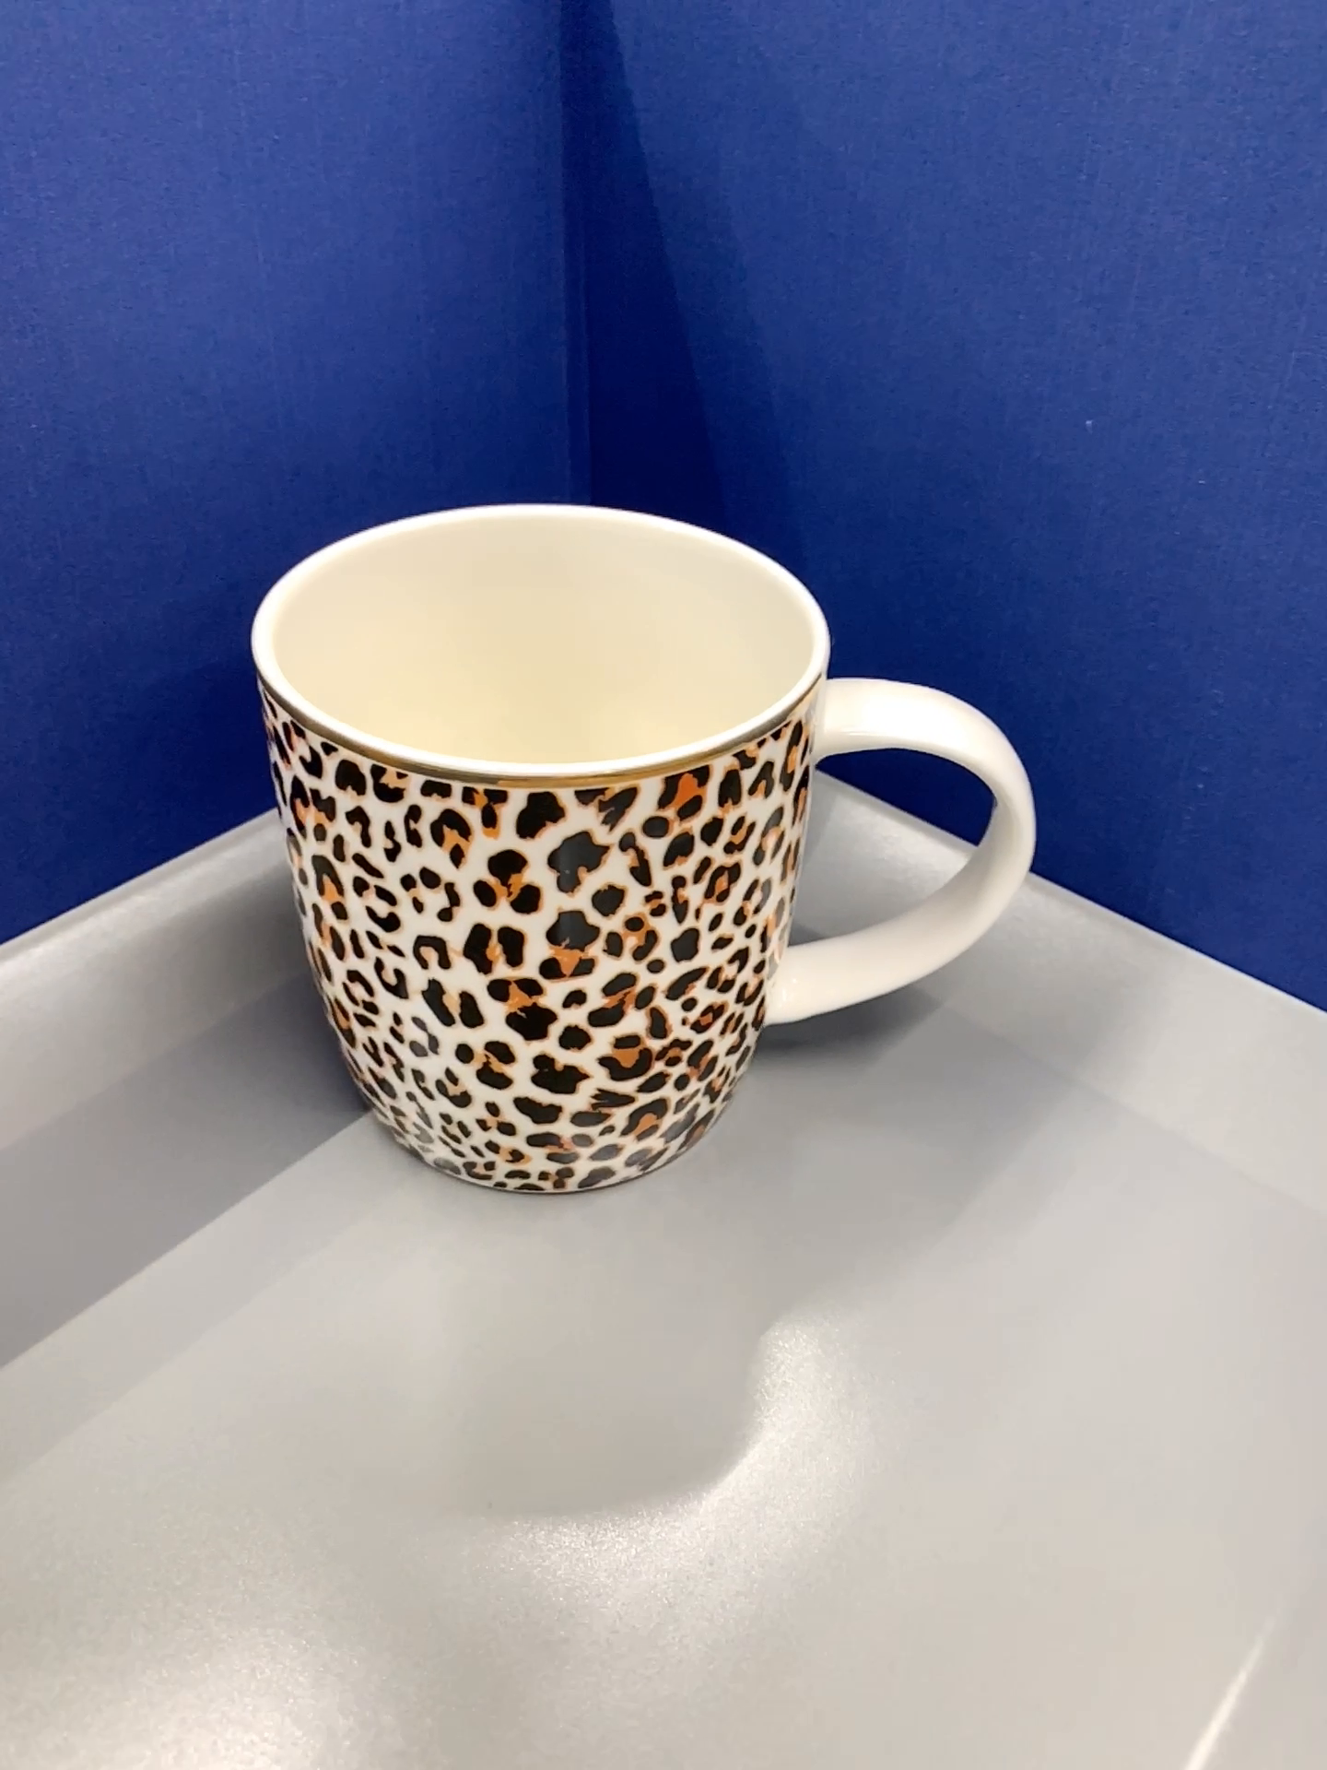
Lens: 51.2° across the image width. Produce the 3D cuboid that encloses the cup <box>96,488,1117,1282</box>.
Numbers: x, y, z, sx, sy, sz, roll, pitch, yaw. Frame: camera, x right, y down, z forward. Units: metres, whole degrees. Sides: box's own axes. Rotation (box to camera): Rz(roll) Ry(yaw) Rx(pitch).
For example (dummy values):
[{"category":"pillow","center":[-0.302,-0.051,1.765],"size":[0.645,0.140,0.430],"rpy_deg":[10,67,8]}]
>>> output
[{"category":"cup","center":[-0.008,-0.003,0.238],"size":[0.126,0.095,0.099],"rpy_deg":[1,35,-1]}]
